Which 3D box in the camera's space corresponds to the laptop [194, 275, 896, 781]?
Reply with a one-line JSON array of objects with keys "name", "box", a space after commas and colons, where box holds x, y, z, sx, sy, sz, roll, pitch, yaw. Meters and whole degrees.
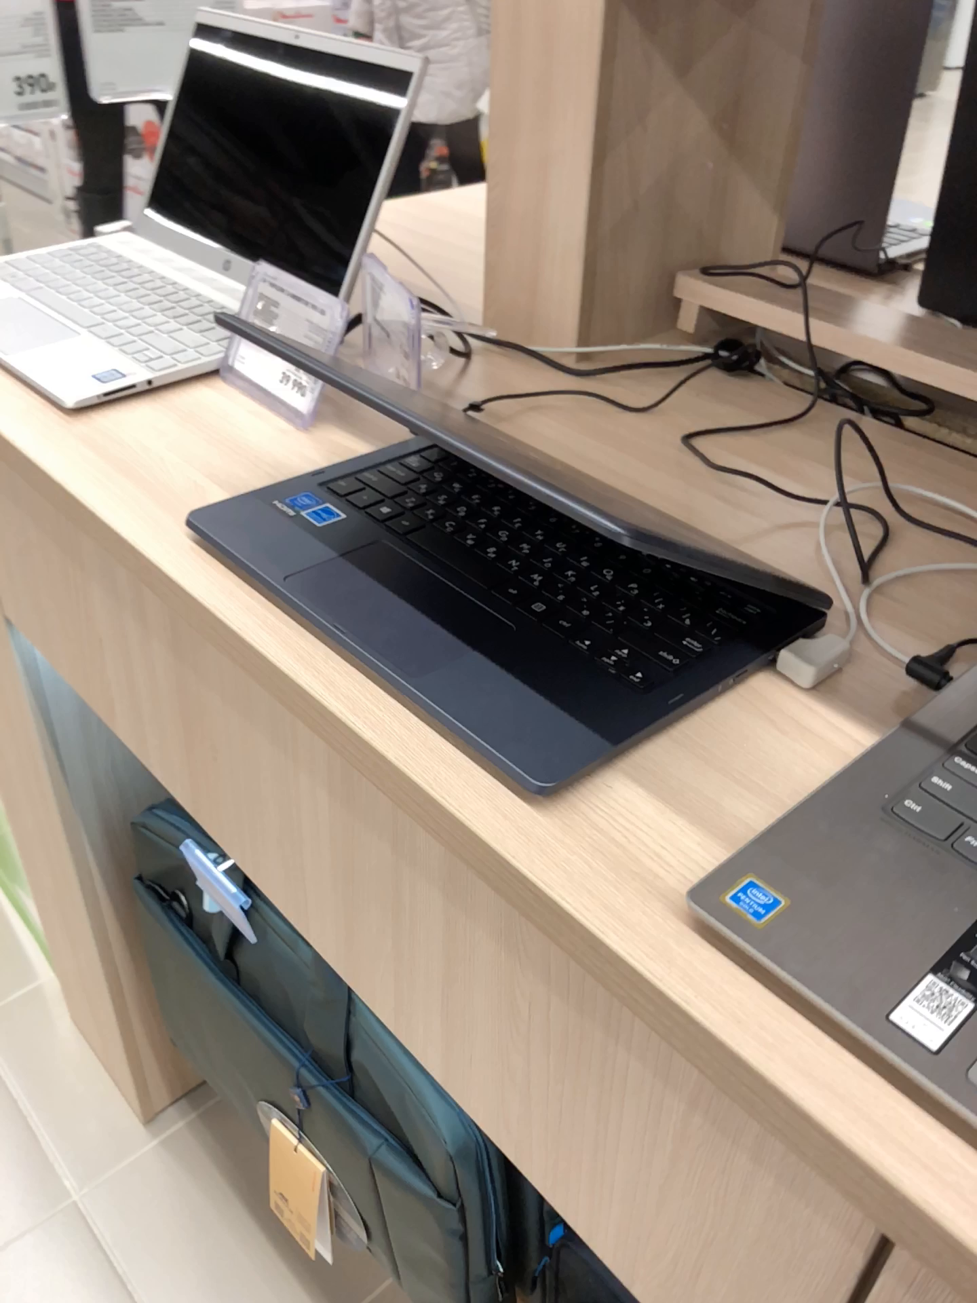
[{"name": "laptop", "box": [0.014, -0.084, 0.525, 0.185, 0.096, 0.272, -26, 44, -33]}]
